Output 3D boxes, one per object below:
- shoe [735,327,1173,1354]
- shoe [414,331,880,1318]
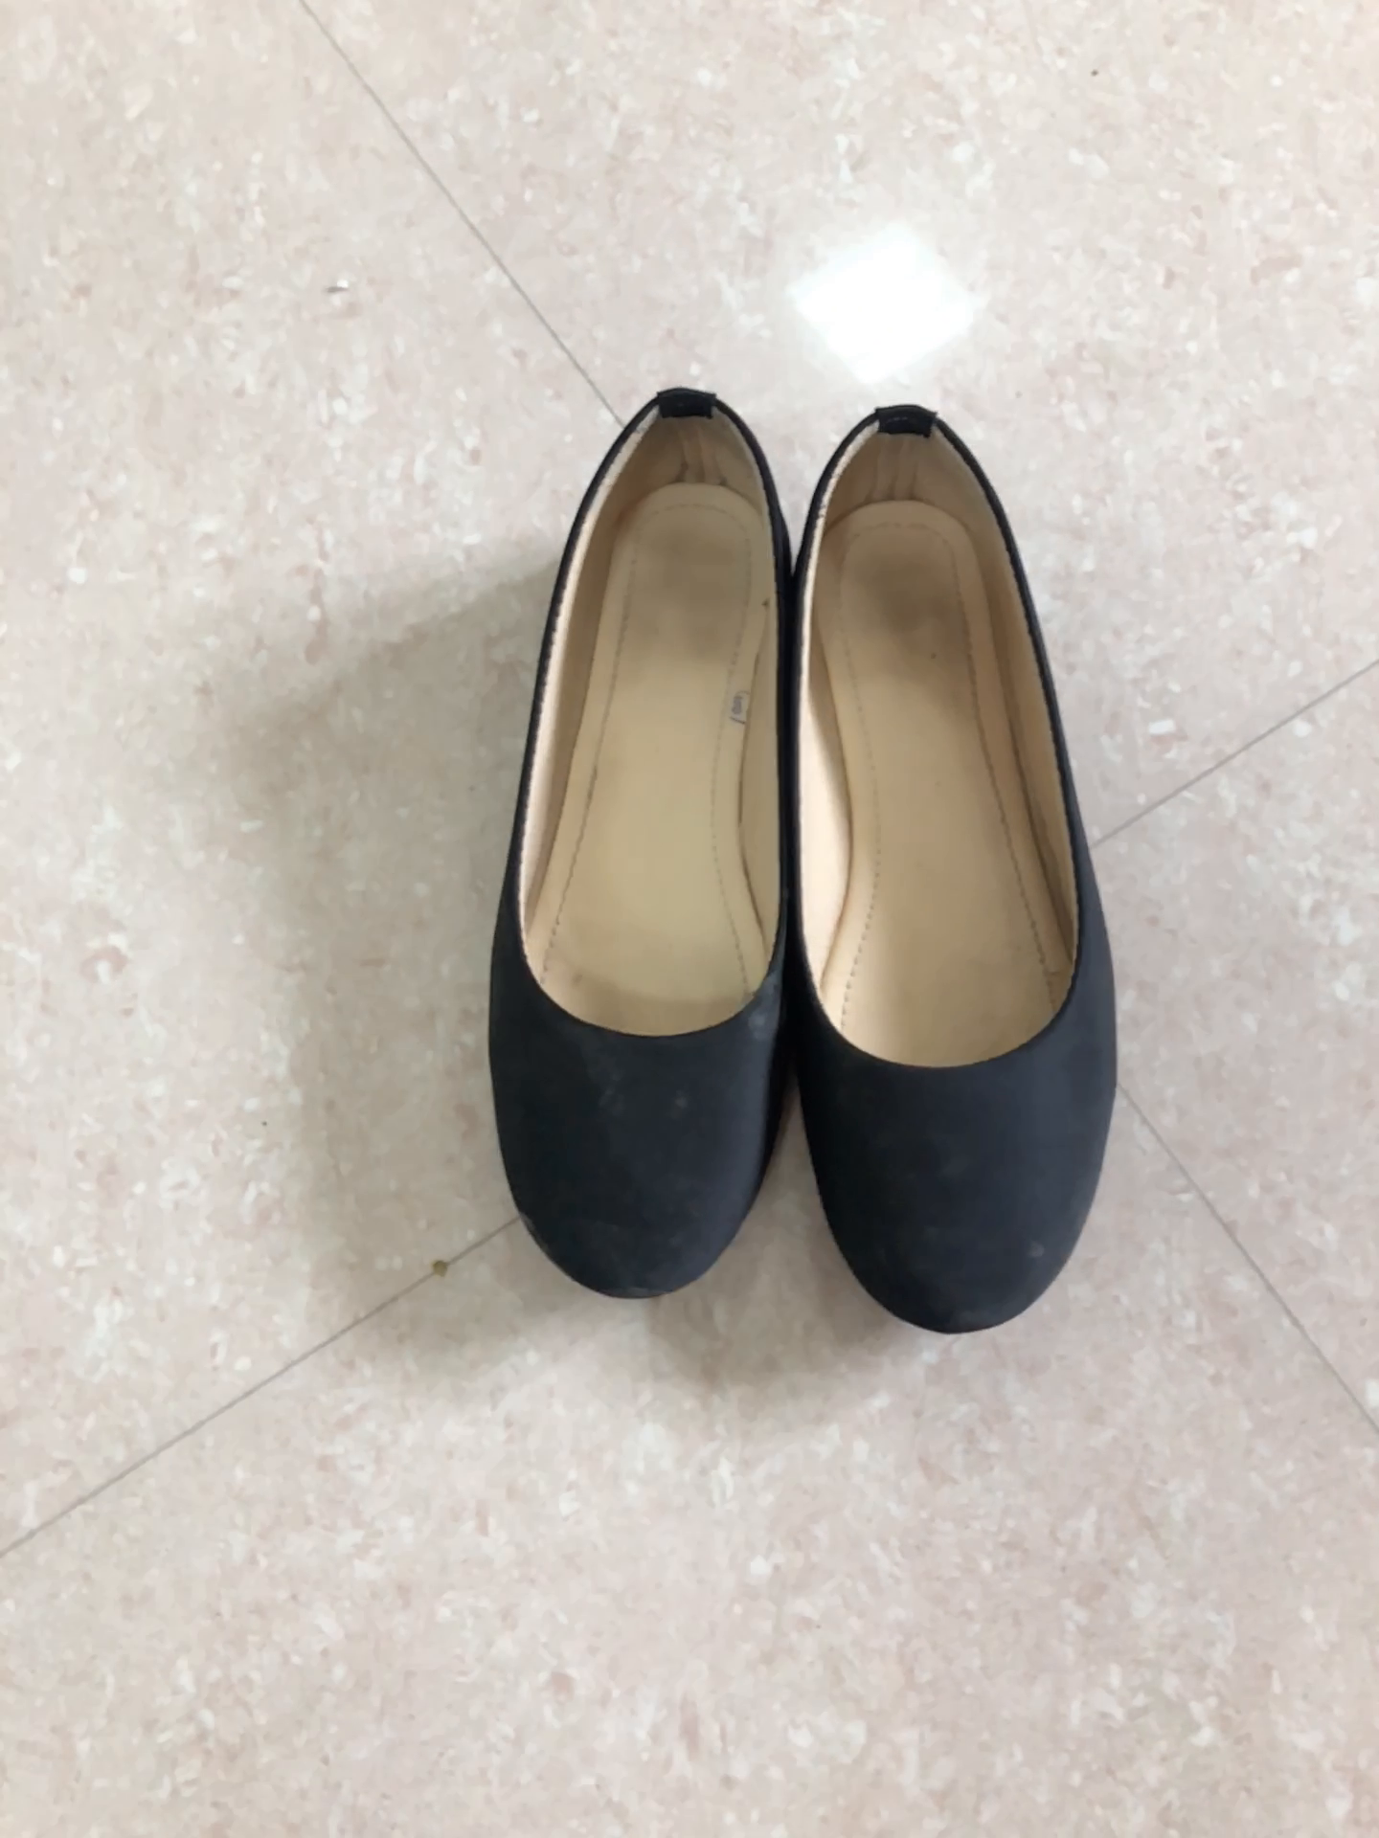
[{"bbox_3d":[0.060,-0.020,0.392,0.090,0.060,0.250,-2,76,5],"label":"shoe"},{"bbox_3d":[-0.004,-0.027,0.410,0.090,0.060,0.250,4,77,7],"label":"shoe"}]
